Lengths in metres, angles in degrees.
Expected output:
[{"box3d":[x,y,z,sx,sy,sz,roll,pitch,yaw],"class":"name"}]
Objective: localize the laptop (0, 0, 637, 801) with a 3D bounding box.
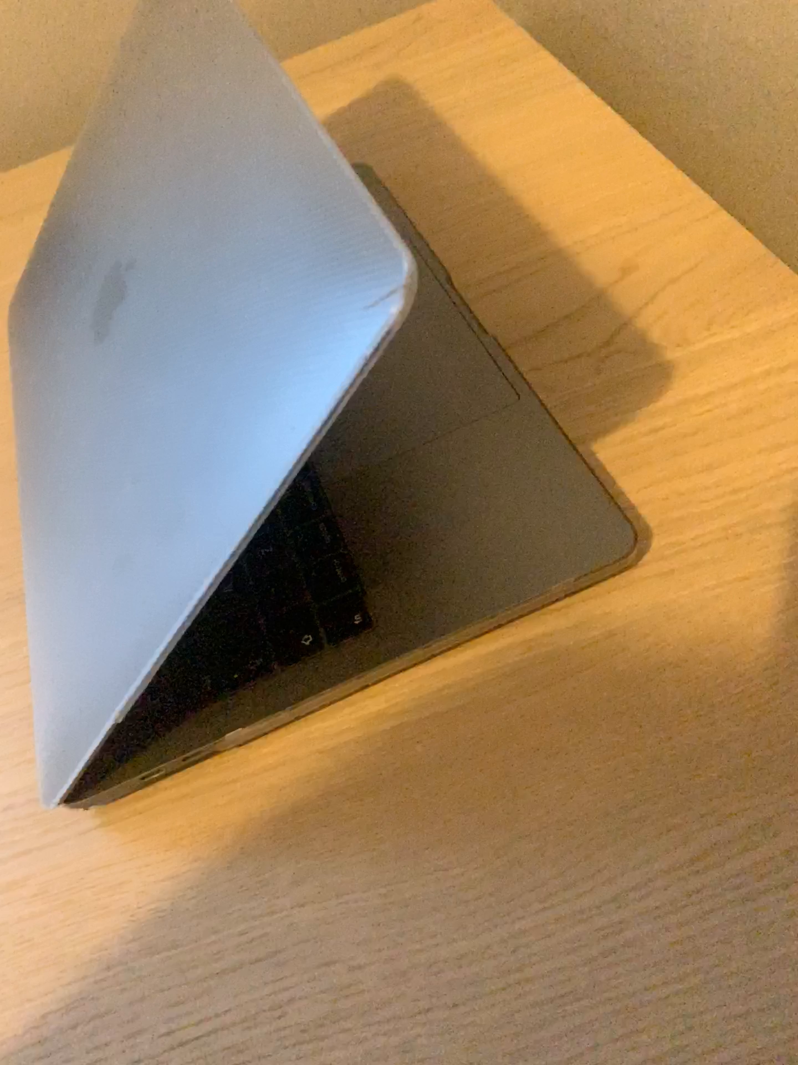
[{"box3d":[-0.081,-0.101,0.322,0.207,0.127,0.310,-23,51,-4],"class":"laptop"}]
